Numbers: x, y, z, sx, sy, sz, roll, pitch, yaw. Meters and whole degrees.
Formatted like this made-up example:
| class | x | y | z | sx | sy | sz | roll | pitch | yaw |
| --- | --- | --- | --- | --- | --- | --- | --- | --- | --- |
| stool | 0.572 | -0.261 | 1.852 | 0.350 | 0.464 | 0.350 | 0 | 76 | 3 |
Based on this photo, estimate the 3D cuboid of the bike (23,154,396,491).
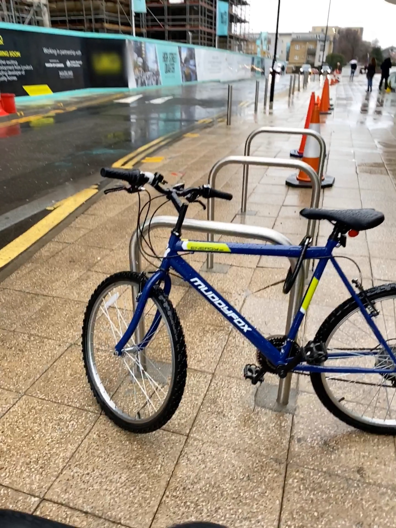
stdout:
| class | x | y | z | sx | sy | sz | roll | pitch | yaw |
| --- | --- | --- | --- | --- | --- | --- | --- | --- | --- |
| bike | 0.278 | 0.150 | 1.580 | 1.592 | 1.012 | 0.601 | 3 | 26 | 11 |
